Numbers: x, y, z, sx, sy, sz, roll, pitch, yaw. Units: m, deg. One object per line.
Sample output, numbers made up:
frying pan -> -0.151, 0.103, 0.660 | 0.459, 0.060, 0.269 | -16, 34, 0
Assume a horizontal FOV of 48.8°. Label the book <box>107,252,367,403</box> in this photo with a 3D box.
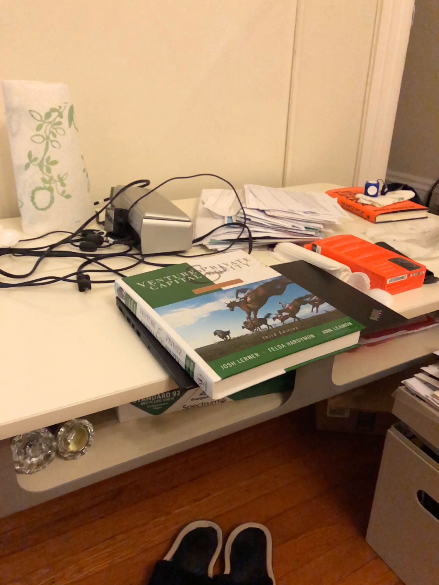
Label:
book -> 0.010, 0.022, 0.628 | 0.220, 0.030, 0.271 | -13, 30, -30
